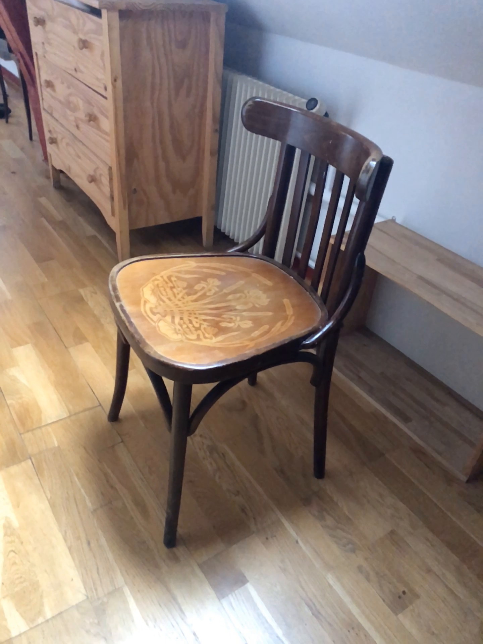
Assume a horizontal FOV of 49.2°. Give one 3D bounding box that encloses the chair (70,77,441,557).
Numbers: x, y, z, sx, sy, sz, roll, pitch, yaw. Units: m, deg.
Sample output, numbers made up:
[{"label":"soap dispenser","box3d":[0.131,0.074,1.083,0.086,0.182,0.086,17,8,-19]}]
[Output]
[{"label":"chair","box3d":[-0.040,-0.023,1.023,0.413,0.737,0.443,-12,39,-27]}]
